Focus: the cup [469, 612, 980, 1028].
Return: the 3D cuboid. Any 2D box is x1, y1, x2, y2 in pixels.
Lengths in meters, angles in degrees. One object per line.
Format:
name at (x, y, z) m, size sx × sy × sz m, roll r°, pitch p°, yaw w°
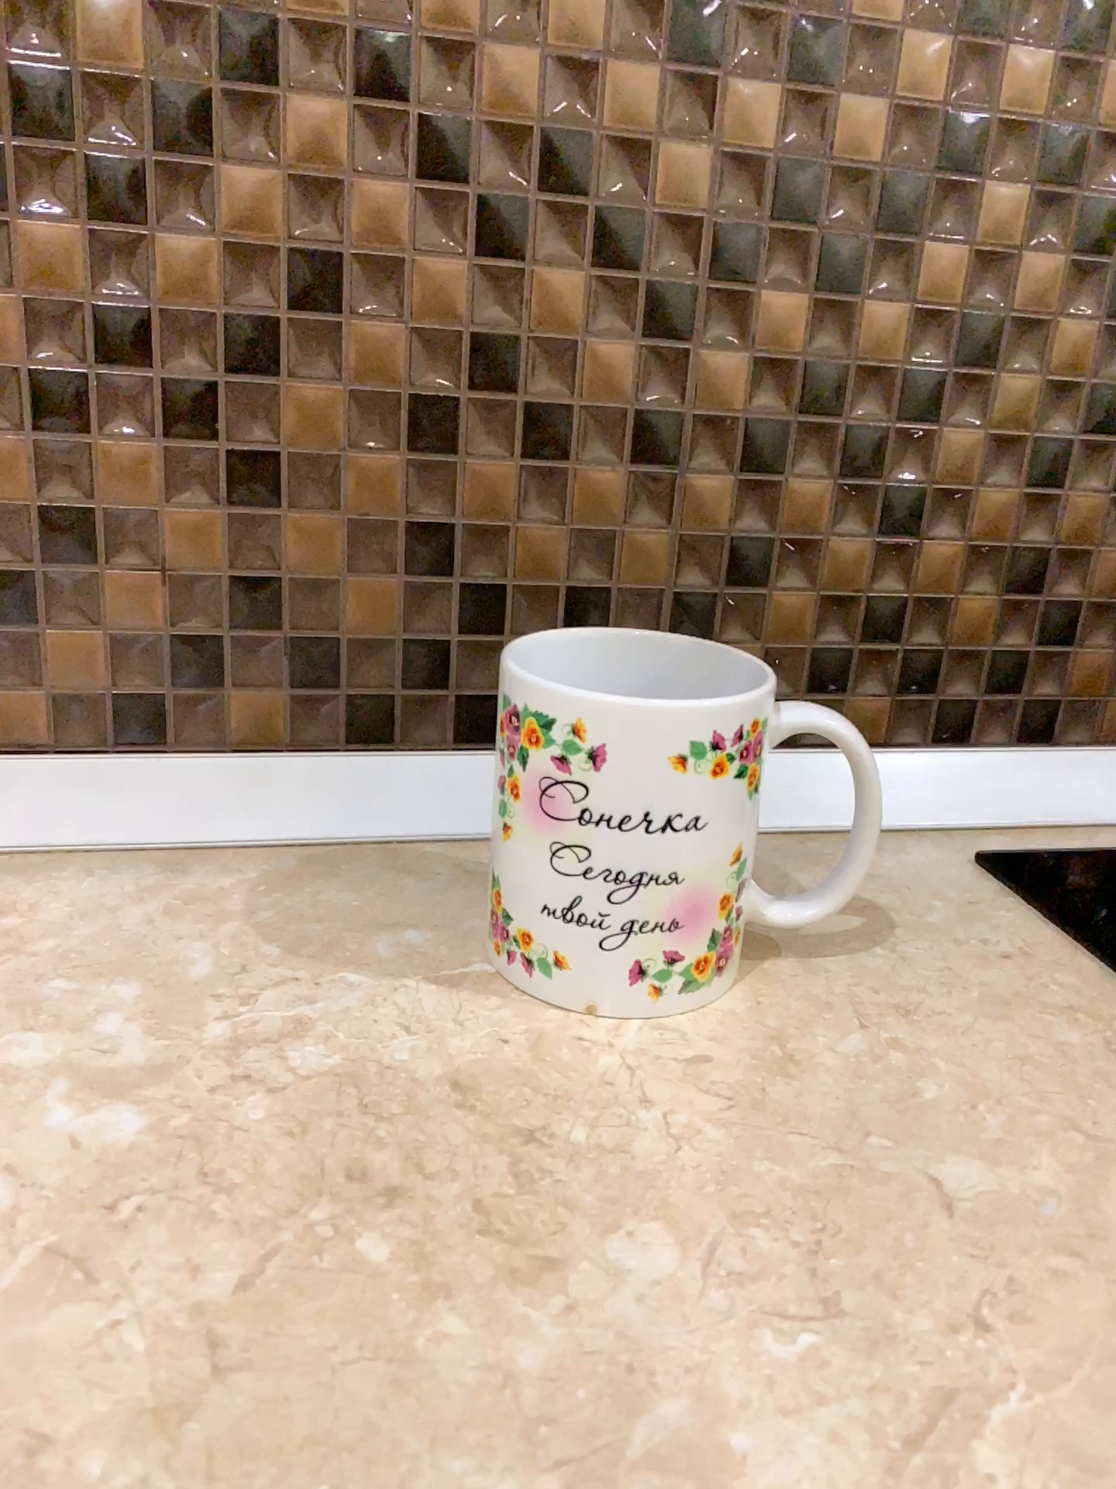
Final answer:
cup at (0.040, 0.019, 0.348) m, size 0.123 × 0.093 × 0.091 m, roll 2°, pitch 19°, yaw -9°
